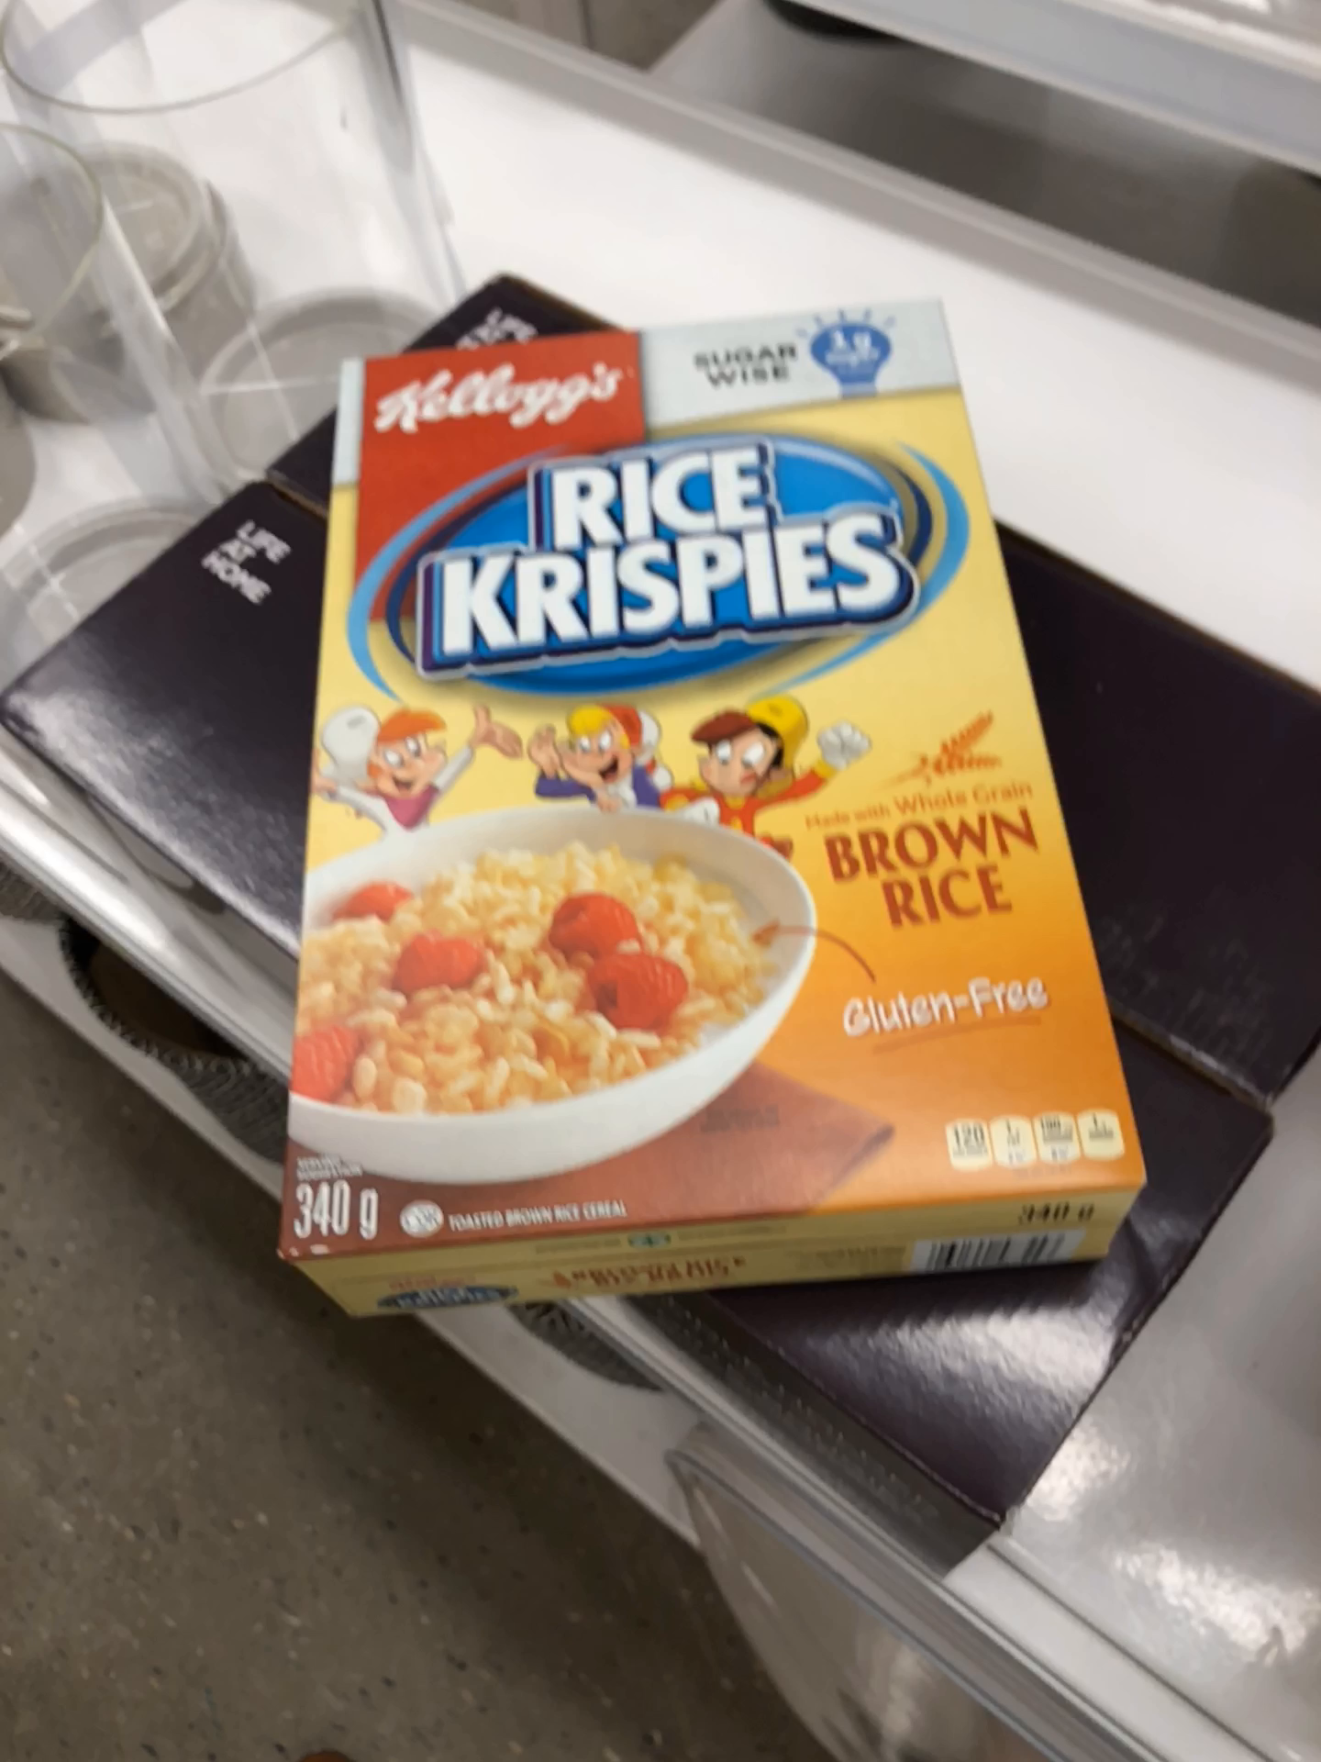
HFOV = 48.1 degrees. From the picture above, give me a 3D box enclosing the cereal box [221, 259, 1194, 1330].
[{"bbox_3d":[0.001,-0.047,0.450,0.220,0.070,0.331,-4,58,-1],"label":"cereal box"}]
